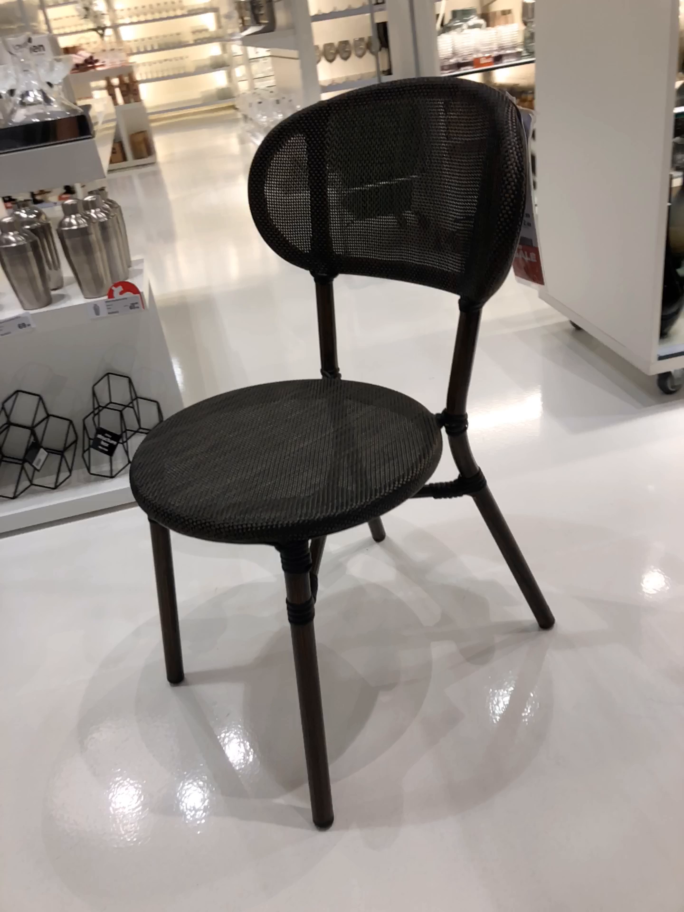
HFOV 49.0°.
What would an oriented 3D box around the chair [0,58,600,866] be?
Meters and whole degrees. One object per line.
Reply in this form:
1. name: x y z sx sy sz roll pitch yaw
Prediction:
1. chair: -0.031 -0.040 0.994 0.552 0.764 0.472 -30 36 -32
